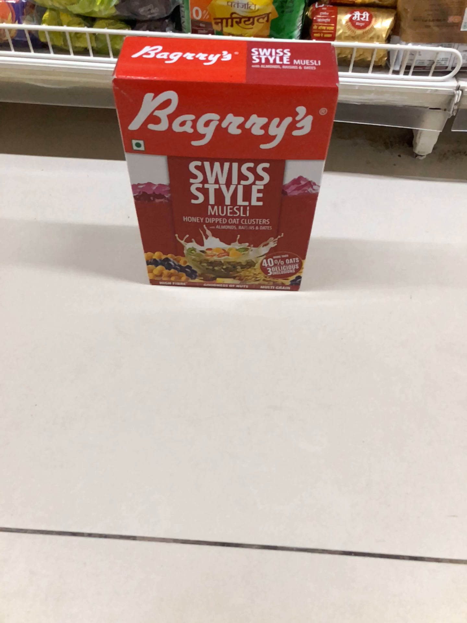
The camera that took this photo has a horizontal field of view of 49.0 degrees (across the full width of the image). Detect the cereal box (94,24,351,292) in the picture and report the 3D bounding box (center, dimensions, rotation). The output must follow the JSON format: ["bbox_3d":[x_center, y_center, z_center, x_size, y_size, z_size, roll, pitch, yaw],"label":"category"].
[{"bbox_3d":[-0.009,-0.127,0.500,0.190,0.258,0.060,2,53,1],"label":"cereal box"}]
